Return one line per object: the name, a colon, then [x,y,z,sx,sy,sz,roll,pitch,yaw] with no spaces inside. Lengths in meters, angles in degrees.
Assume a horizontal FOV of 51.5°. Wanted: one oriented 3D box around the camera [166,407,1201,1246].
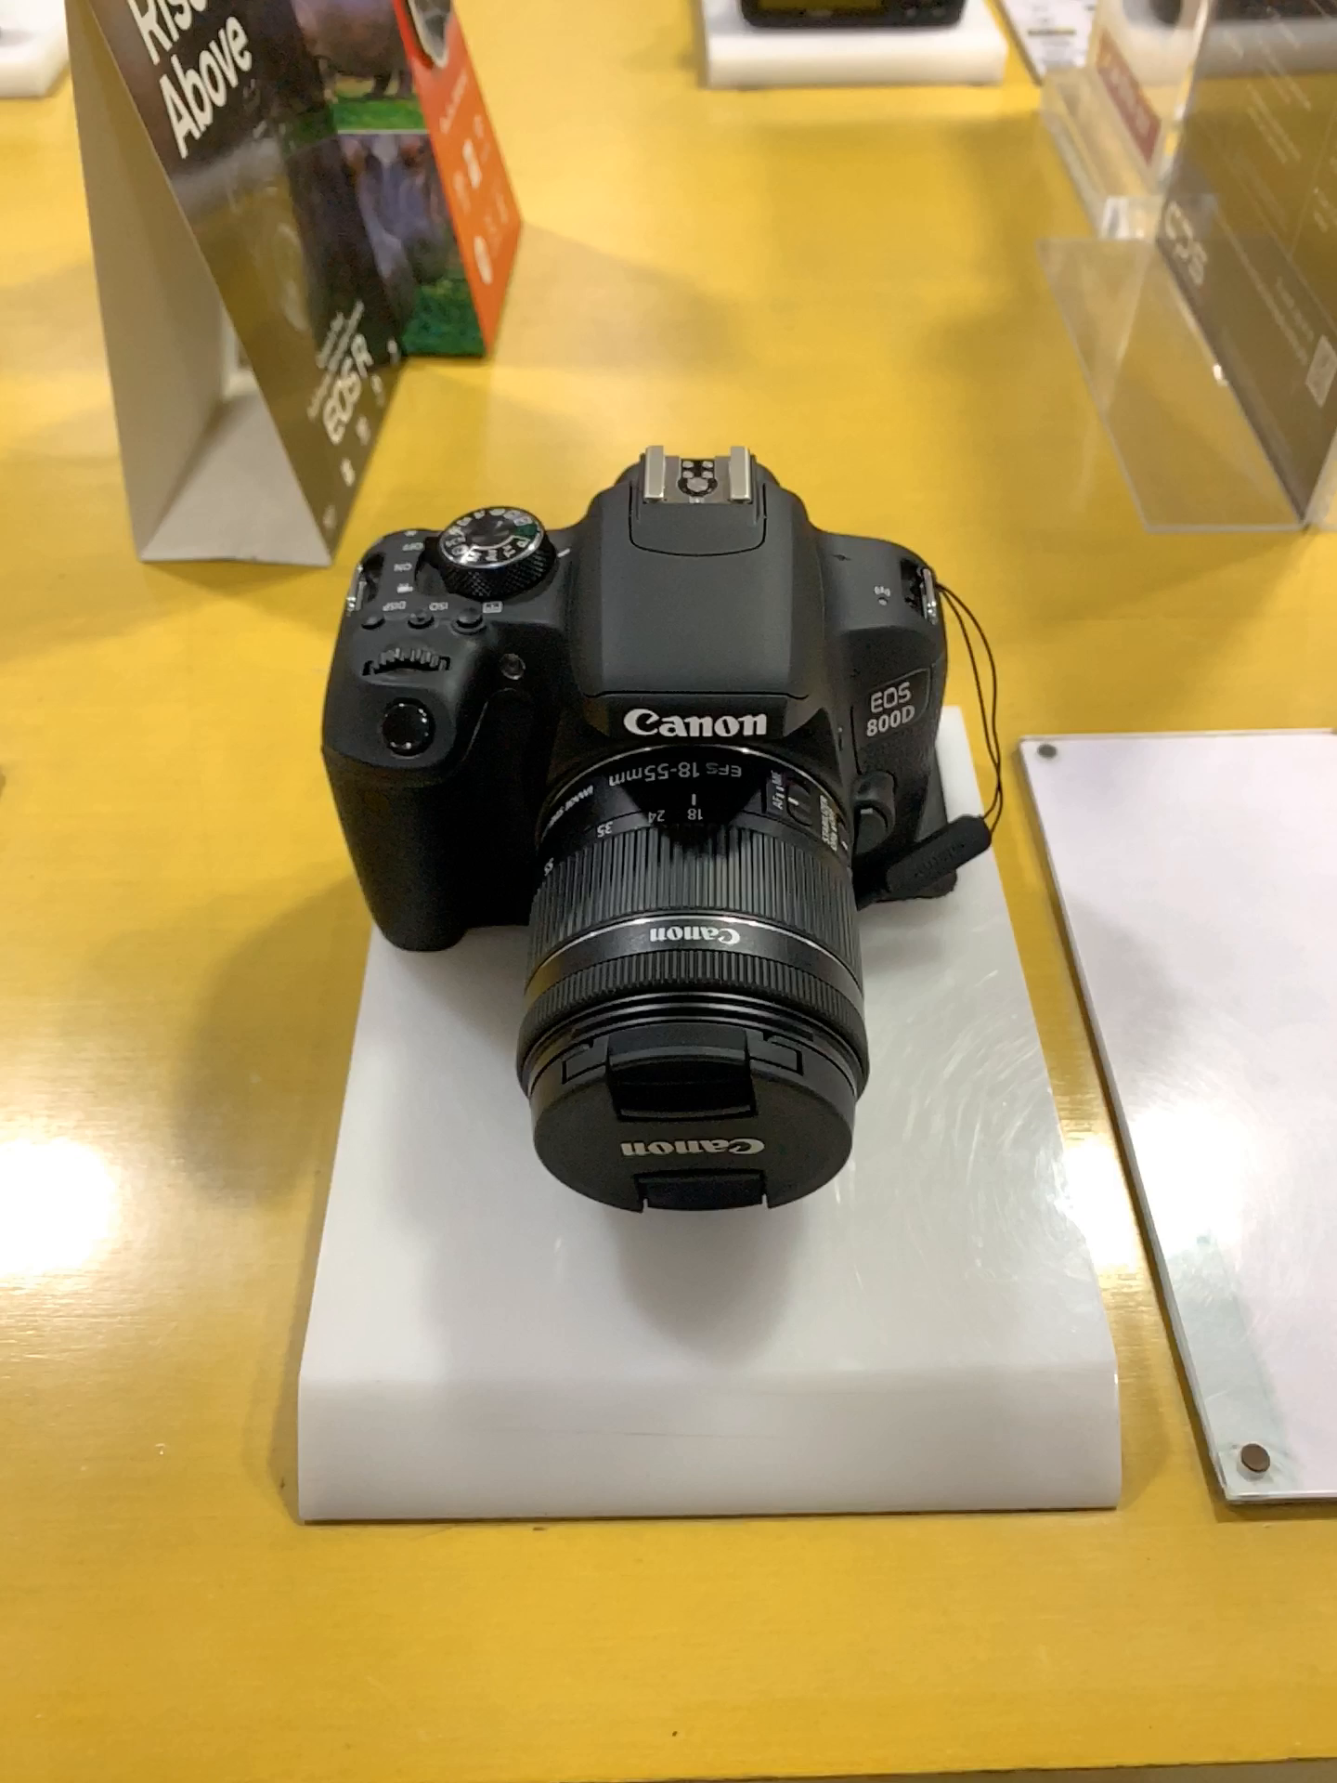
camera: [0.002,-0.015,0.264,0.140,0.090,0.130,-1,49,0]
